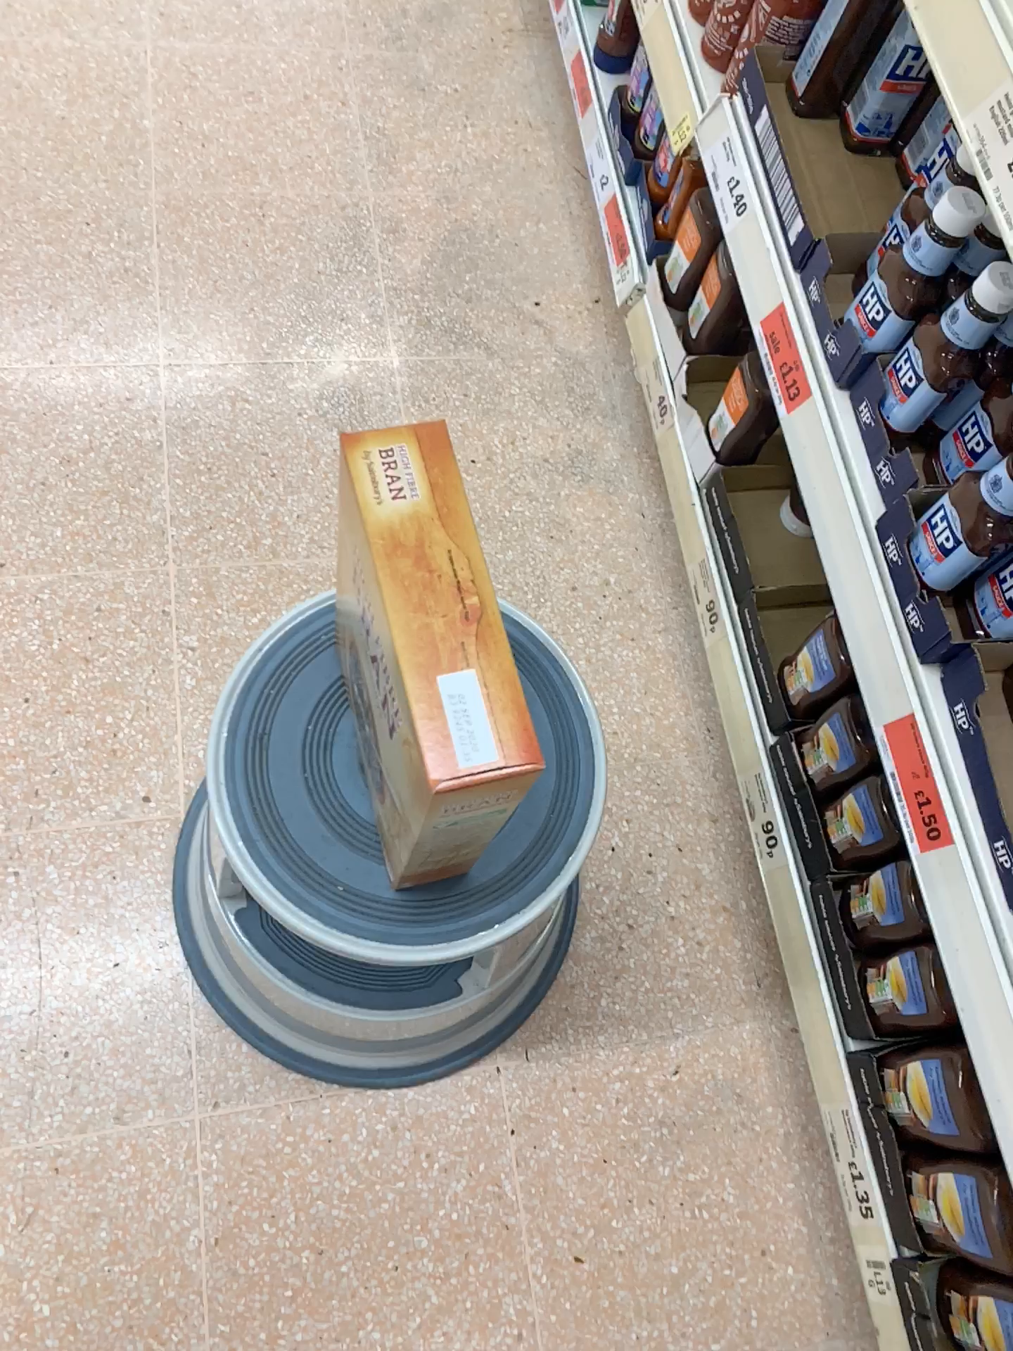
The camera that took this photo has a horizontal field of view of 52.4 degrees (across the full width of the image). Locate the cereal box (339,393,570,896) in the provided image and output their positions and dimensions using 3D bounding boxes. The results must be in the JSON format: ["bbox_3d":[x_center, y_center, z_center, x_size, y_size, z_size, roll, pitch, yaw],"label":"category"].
[{"bbox_3d":[-0.049,0.002,0.621,0.060,0.279,0.201,-11,70,-14],"label":"cereal box"}]
